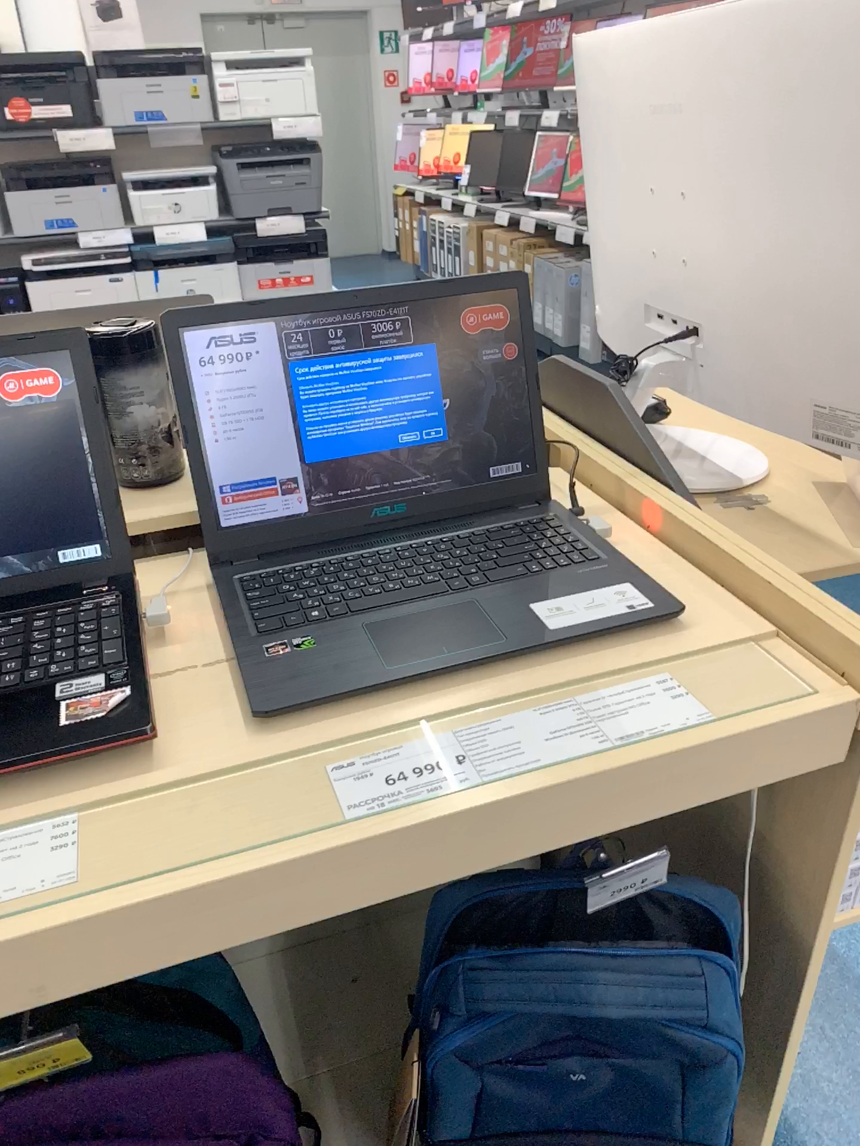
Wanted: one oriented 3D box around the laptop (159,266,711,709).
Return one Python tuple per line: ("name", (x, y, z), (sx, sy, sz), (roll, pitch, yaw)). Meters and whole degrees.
("laptop", (-0.016, -0.107, 0.767), (0.358, 0.222, 0.319), (-12, 30, -16))
